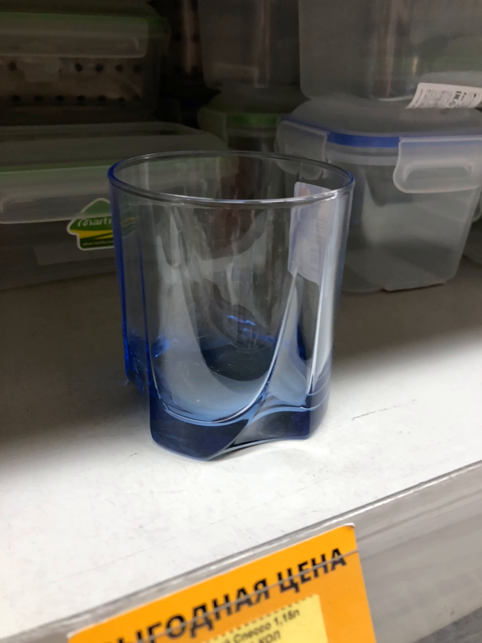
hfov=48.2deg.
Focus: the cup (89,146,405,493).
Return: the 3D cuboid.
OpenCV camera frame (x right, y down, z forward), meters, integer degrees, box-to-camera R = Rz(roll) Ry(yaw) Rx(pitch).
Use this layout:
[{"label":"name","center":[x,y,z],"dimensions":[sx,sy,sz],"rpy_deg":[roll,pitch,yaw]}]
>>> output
[{"label":"cup","center":[-0.004,-0.010,0.205],"dimensions":[0.085,0.094,0.083],"rpy_deg":[0,26,0]}]
